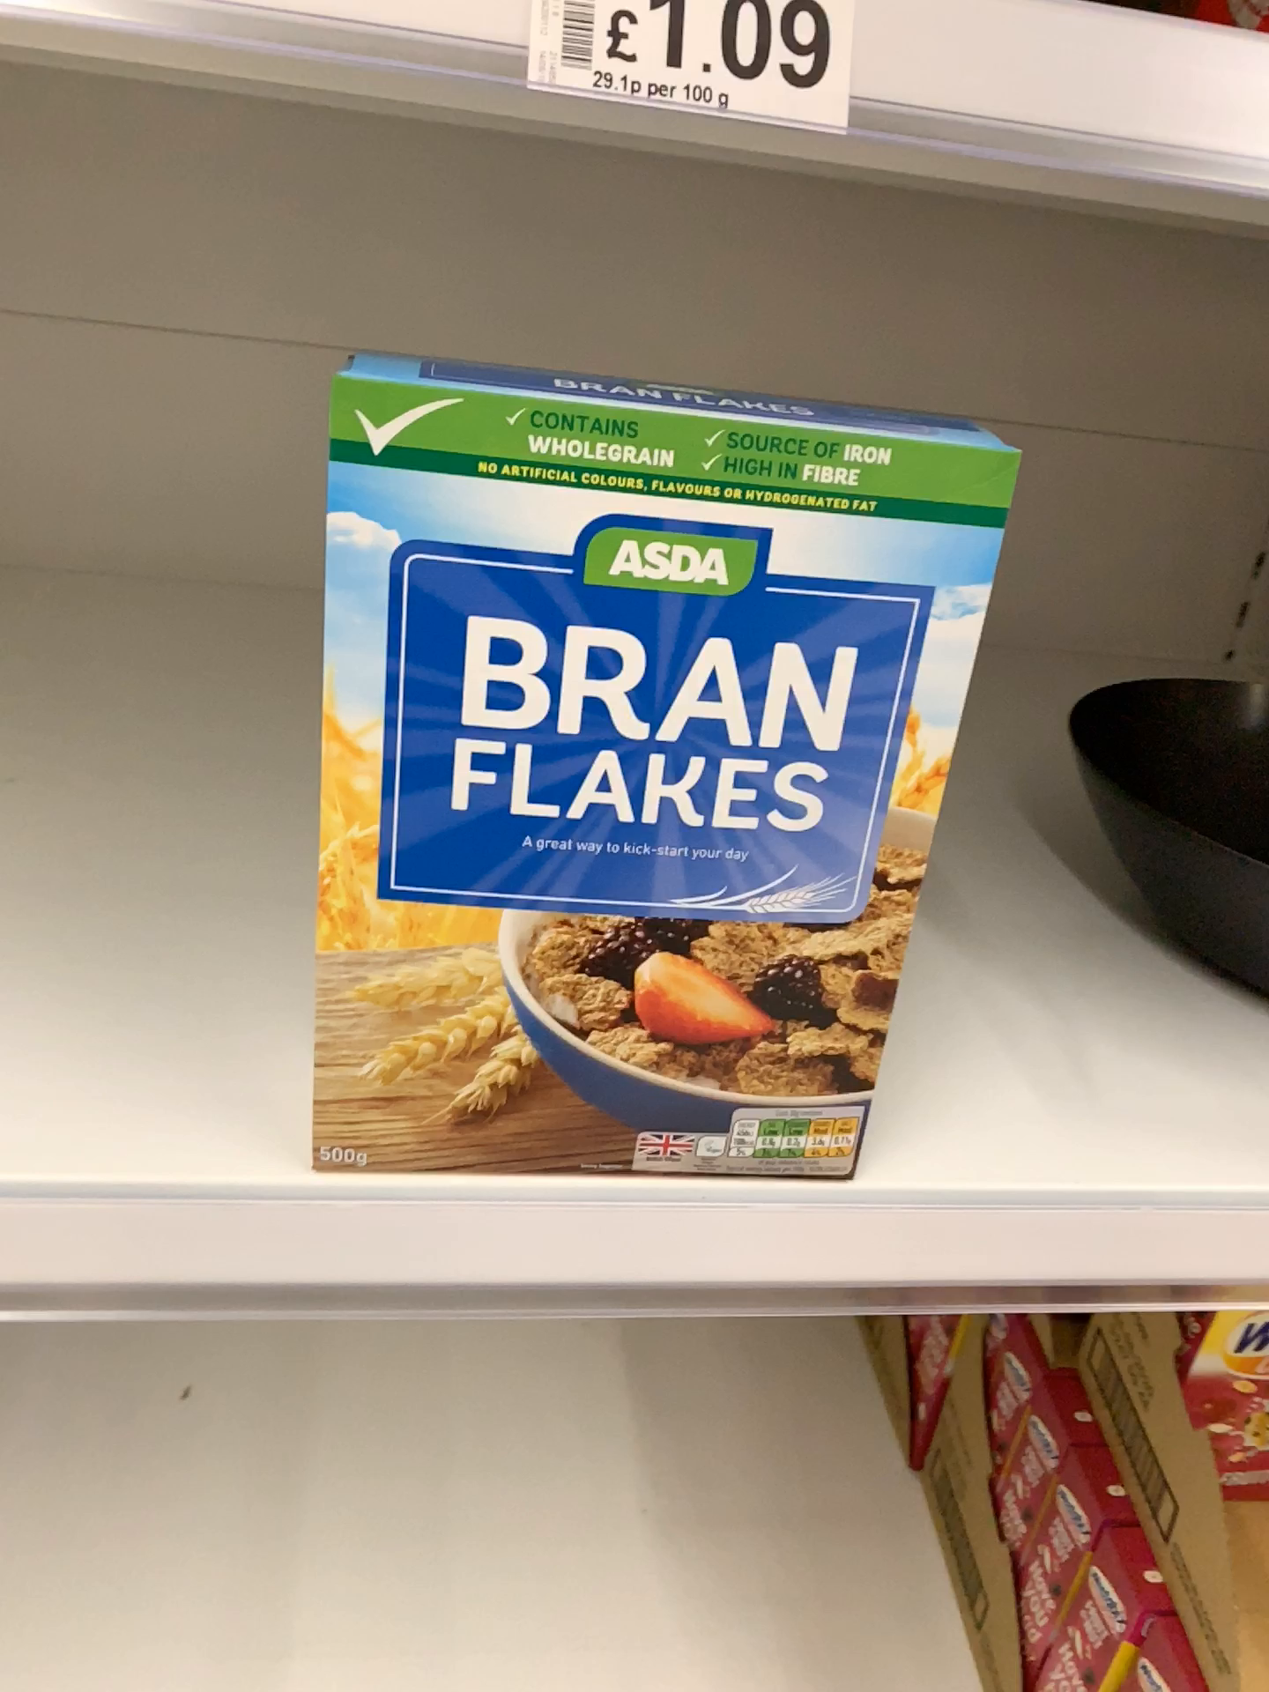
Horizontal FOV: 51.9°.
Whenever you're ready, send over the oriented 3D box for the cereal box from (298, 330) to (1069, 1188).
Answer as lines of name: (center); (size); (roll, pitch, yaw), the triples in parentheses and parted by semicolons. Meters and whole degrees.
cereal box: (0.000, -0.019, 0.462); (0.220, 0.278, 0.081); (3, 23, -9)
